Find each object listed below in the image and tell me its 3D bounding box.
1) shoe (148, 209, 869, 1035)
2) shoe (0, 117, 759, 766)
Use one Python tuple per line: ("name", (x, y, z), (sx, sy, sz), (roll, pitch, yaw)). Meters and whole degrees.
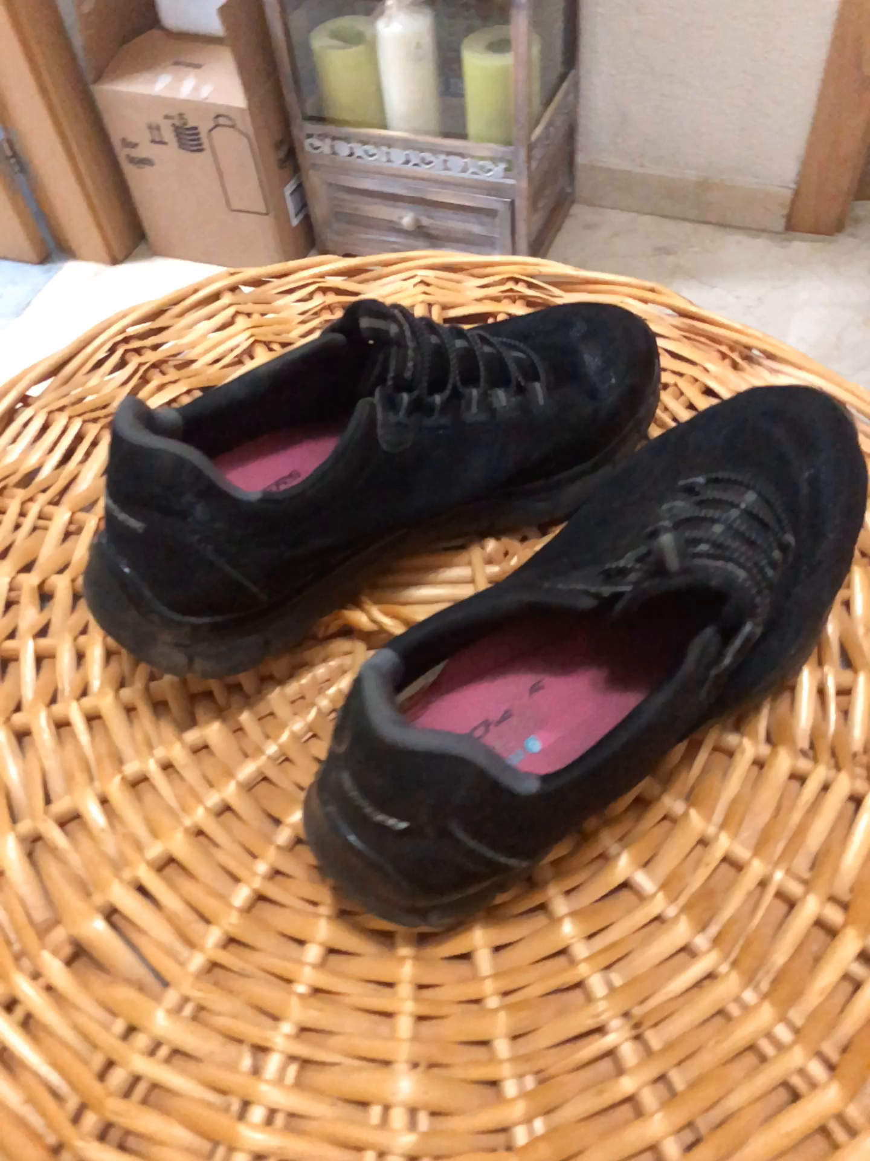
("shoe", (0.058, -0.006, 0.319), (0.118, 0.079, 0.264), (37, 65, 27))
("shoe", (-0.020, -0.066, 0.367), (0.264, 0.079, 0.118), (-34, 58, -18))
